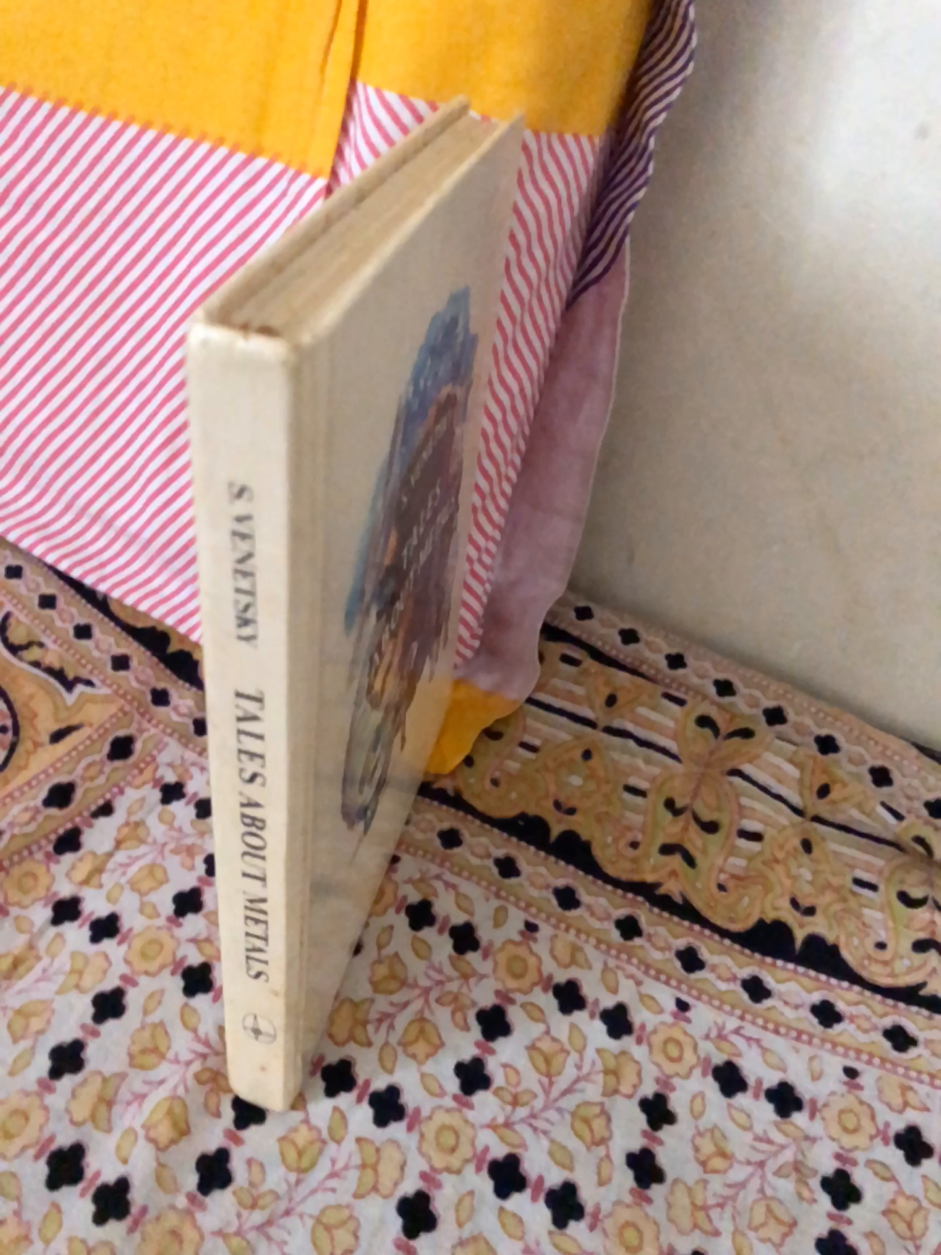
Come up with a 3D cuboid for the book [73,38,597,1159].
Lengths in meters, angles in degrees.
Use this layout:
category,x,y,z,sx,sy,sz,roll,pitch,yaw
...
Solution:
category,x,y,z,sx,sy,sz,roll,pitch,yaw
book,-0.028,-0.015,0.294,0.050,0.249,0.191,15,34,7
